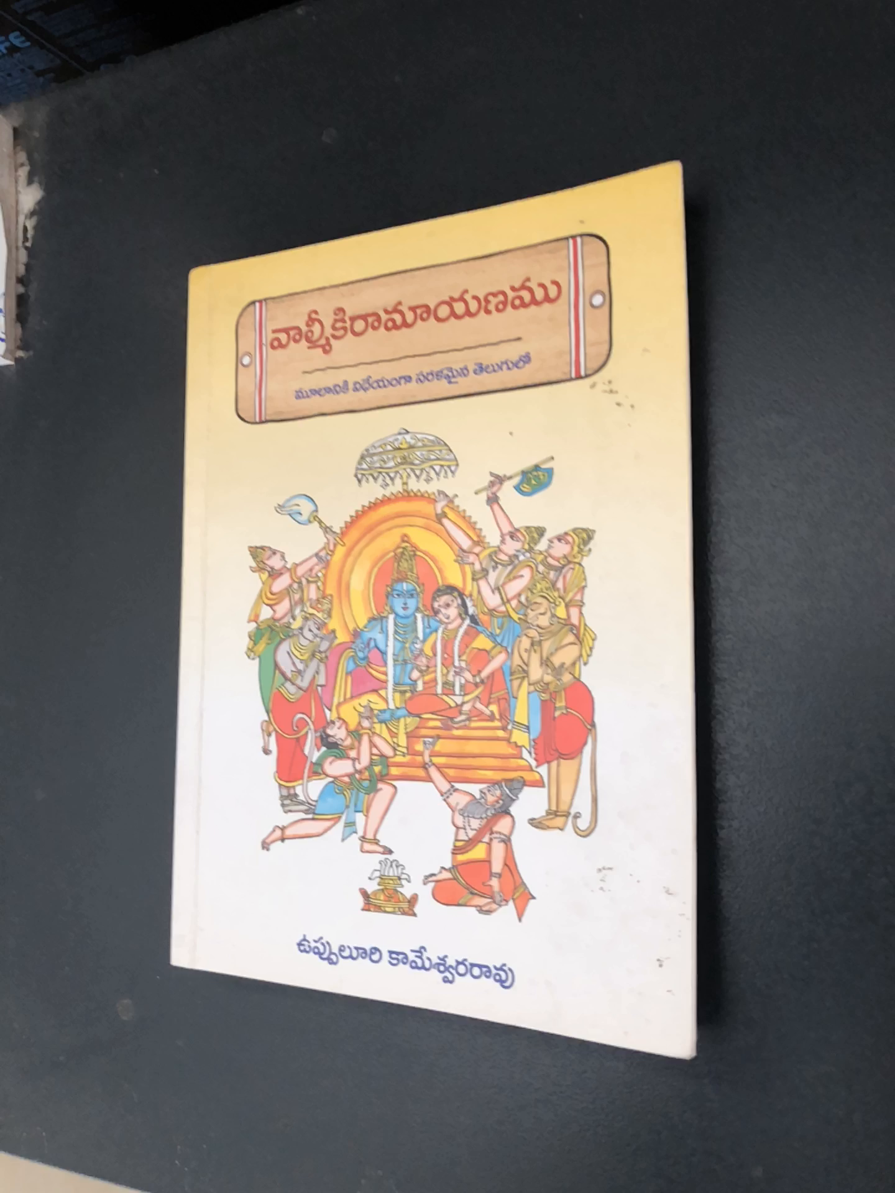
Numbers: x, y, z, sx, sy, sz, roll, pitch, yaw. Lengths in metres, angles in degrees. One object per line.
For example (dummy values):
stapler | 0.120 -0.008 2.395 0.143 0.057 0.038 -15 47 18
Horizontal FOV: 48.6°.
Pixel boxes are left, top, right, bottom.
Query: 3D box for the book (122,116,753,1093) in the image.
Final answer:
book | -0.011 0.000 0.293 0.190 0.020 0.240 -1 85 25
